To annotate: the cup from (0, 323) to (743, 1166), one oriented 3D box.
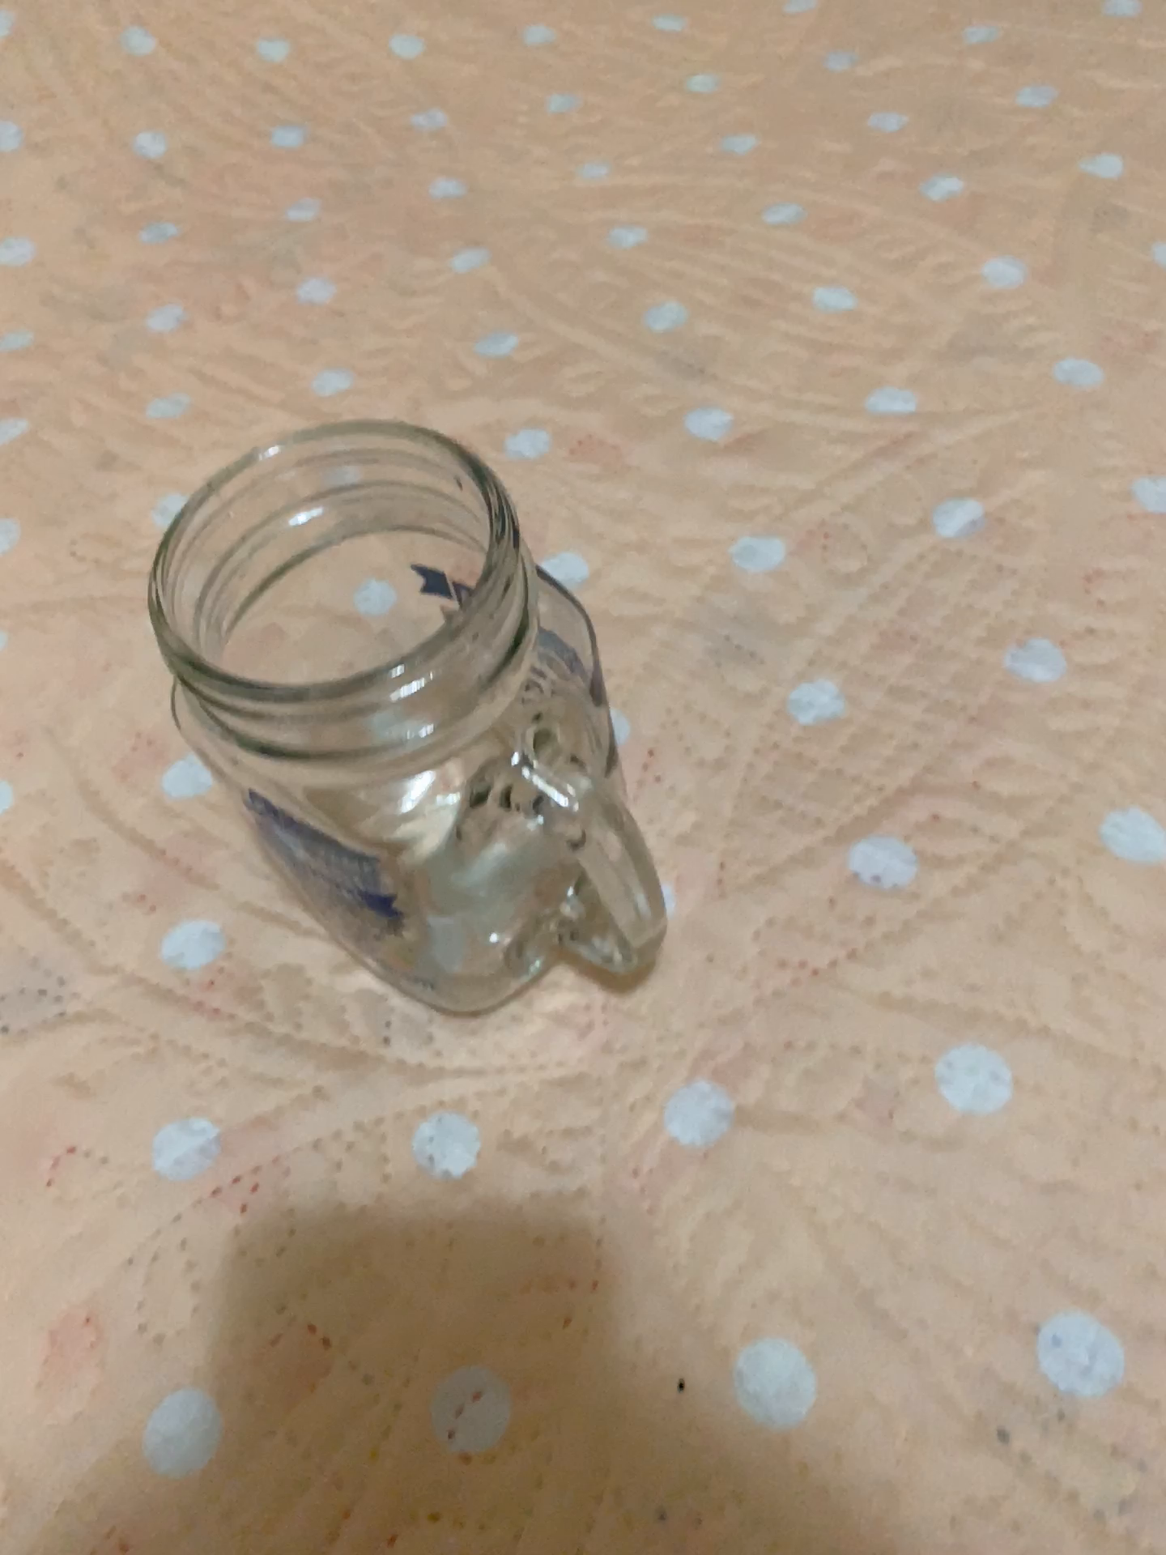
[{"bbox_3d":[-0.032,-0.003,0.248,0.100,0.120,0.080,36,66,28],"label":"cup"}]
